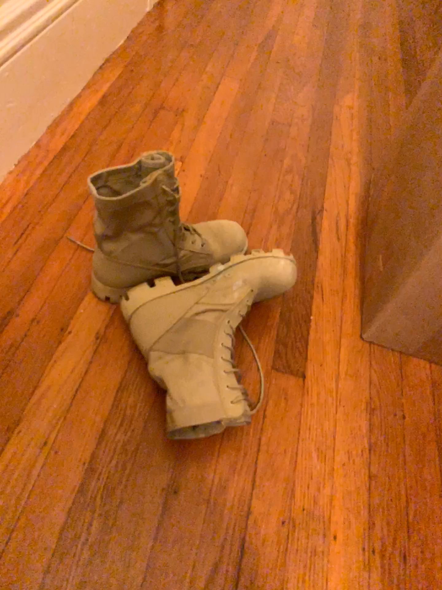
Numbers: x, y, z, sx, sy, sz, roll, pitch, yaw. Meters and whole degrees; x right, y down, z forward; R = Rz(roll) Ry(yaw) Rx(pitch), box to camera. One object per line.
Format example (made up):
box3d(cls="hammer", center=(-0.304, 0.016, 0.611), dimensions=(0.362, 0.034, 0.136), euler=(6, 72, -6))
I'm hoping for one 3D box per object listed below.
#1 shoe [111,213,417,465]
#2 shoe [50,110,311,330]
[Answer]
box3d(cls="shoe", center=(0.040, 0.035, 0.608), dimensions=(0.310, 0.119, 0.251), euler=(-14, 49, -21))
box3d(cls="shoe", center=(-0.068, -0.120, 0.681), dimensions=(0.300, 0.199, 0.191), euler=(-17, 59, -23))
